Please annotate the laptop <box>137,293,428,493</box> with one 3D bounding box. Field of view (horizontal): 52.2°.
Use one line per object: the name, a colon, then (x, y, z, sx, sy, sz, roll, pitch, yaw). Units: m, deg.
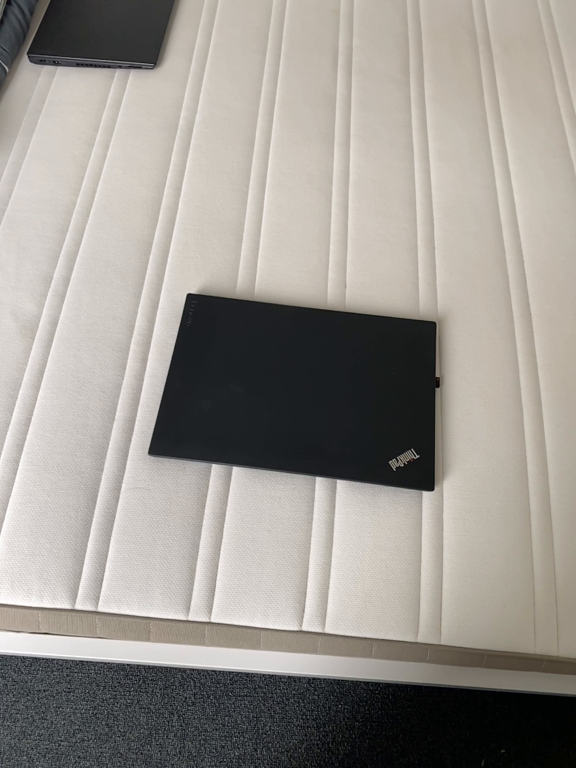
laptop: (0.003, 0.003, 0.631, 0.288, 0.005, 0.194, 7, 66, 1)
